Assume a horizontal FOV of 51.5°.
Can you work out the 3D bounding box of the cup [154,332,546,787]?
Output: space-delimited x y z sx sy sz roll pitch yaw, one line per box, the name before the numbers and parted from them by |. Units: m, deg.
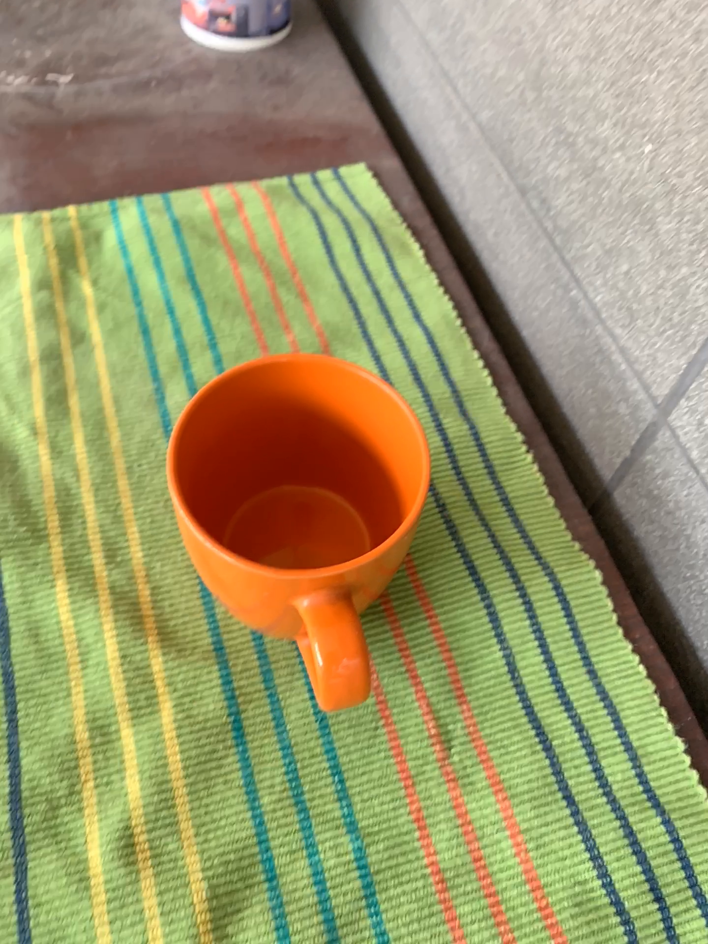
cup | -0.010 0.029 0.260 0.090 0.080 0.120 -12 59 -14
